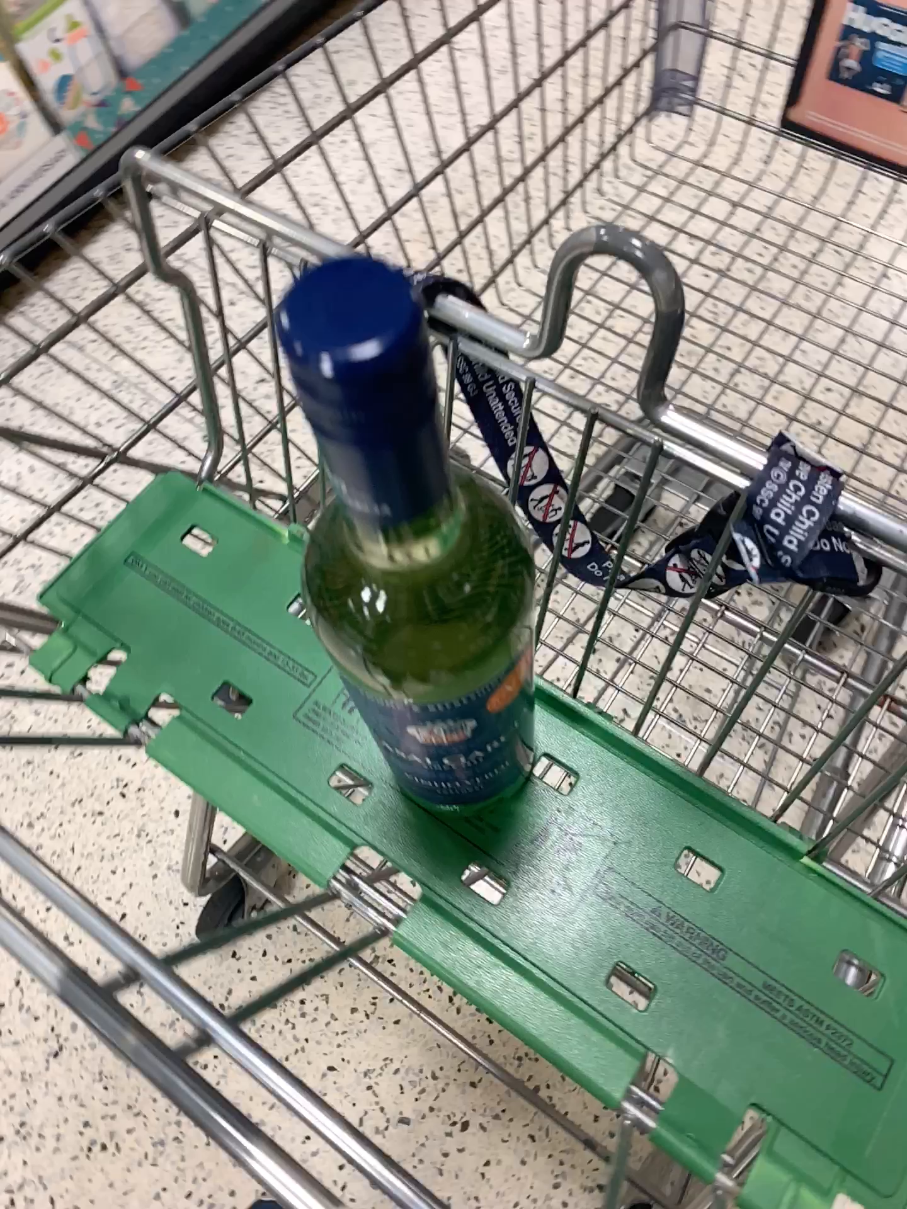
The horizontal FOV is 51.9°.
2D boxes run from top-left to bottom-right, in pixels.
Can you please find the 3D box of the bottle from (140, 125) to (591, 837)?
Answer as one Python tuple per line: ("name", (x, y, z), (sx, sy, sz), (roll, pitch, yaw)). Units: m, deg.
("bottle", (-0.009, 0.003, 0.316), (0.080, 0.298, 0.081), (-2, 64, 4))
